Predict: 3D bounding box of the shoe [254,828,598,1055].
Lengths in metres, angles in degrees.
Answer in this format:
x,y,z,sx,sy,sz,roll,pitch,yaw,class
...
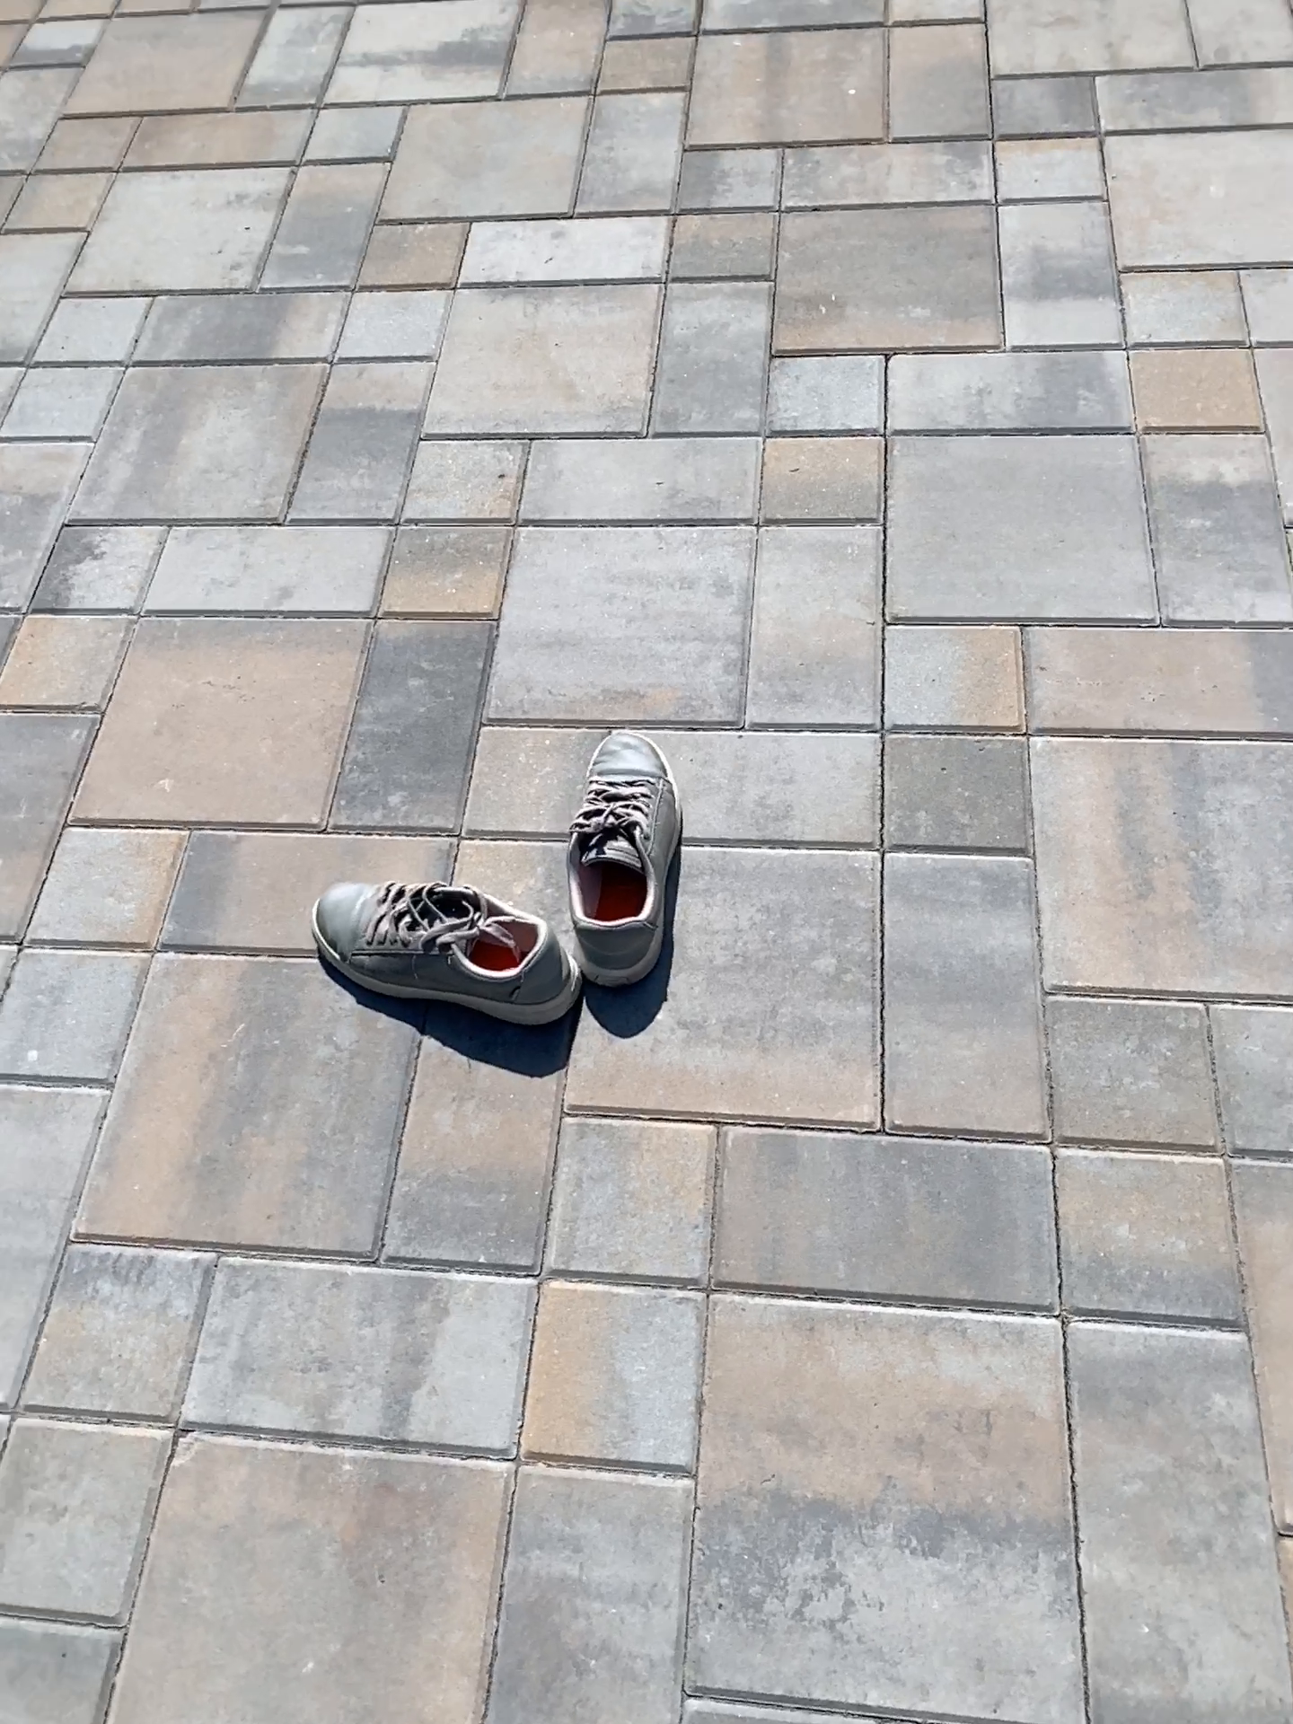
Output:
x,y,z,sx,sy,sz,roll,pitch,yaw,class
-0.216,0.078,1.317,0.300,0.110,0.120,14,63,13,shoe

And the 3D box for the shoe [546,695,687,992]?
x,y,z,sx,sy,sz,roll,pitch,yaw,class
-0.025,-0.023,1.359,0.120,0.090,0.301,0,60,6,shoe
